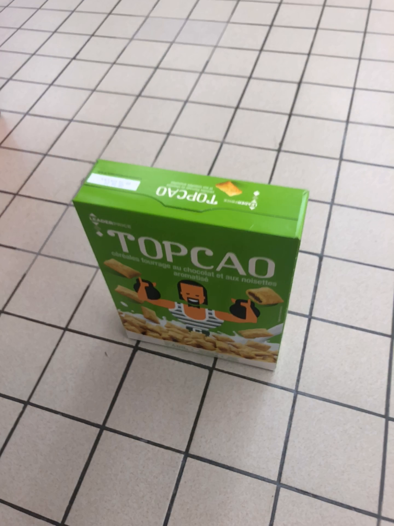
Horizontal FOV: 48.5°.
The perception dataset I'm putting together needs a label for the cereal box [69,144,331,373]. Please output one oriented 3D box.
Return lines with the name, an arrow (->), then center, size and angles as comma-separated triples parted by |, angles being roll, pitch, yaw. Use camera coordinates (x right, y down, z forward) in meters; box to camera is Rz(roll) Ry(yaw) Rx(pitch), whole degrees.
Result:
cereal box -> 0.007, 0.012, 0.447 | 0.200, 0.249, 0.060 | 11, 54, 11
